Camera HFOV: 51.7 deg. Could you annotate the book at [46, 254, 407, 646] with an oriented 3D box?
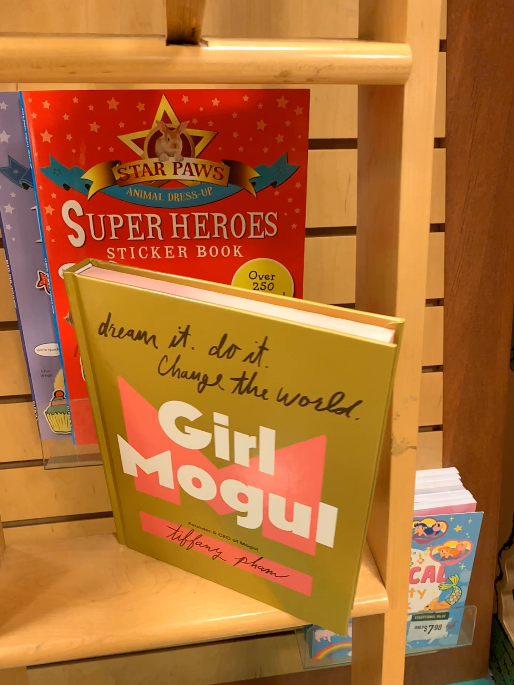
[{"bbox_3d":[-0.022,0.070,0.315,0.180,0.219,0.030,13,34,19],"label":"book"}]
